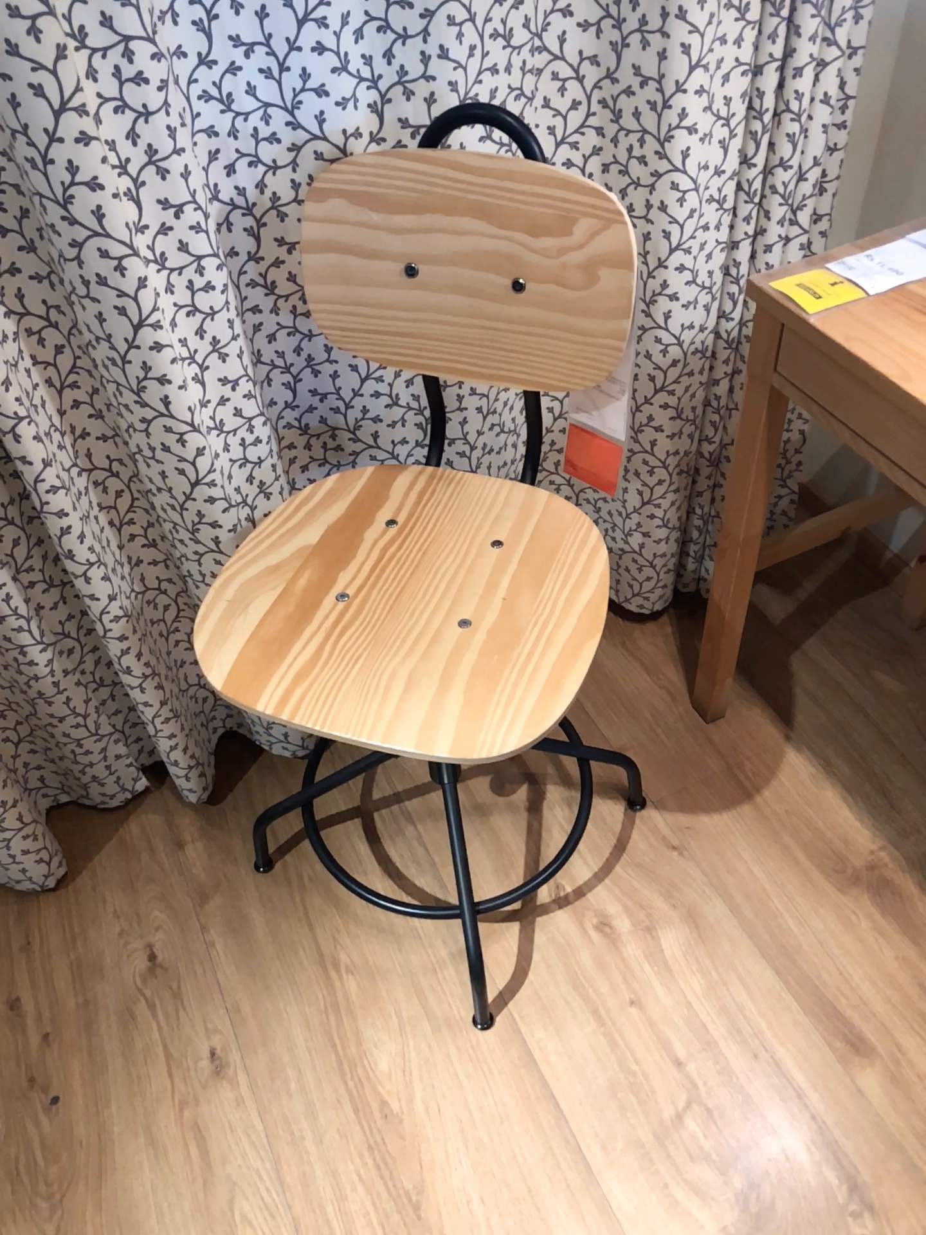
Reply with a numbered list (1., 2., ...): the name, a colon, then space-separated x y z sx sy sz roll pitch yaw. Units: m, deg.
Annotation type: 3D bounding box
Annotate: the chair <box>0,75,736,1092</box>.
1. chair: -0.075 -0.010 1.047 0.520 0.815 0.553 11 49 15
